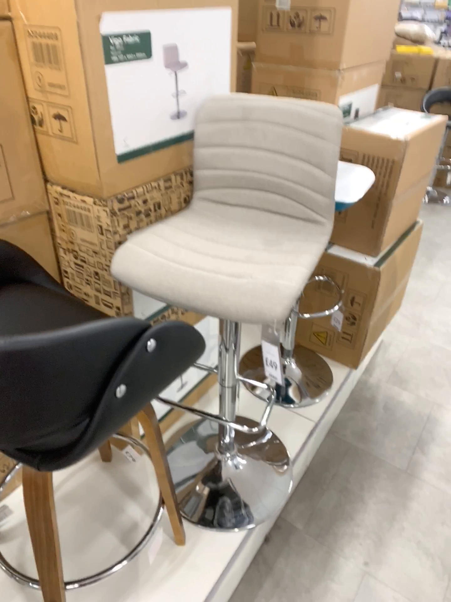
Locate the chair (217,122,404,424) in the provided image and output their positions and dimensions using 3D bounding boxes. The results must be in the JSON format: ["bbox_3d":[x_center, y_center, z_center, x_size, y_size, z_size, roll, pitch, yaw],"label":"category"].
[{"bbox_3d":[0.252,-0.096,1.506,0.389,0.826,0.407,18,35,23],"label":"chair"}]

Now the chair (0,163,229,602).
[{"bbox_3d":[-0.366,0.241,0.985,0.536,0.865,0.491,22,37,28],"label":"chair"}]

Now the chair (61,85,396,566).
[{"bbox_3d":[0.025,0.048,1.144,0.465,0.984,0.511,18,35,23],"label":"chair"}]
